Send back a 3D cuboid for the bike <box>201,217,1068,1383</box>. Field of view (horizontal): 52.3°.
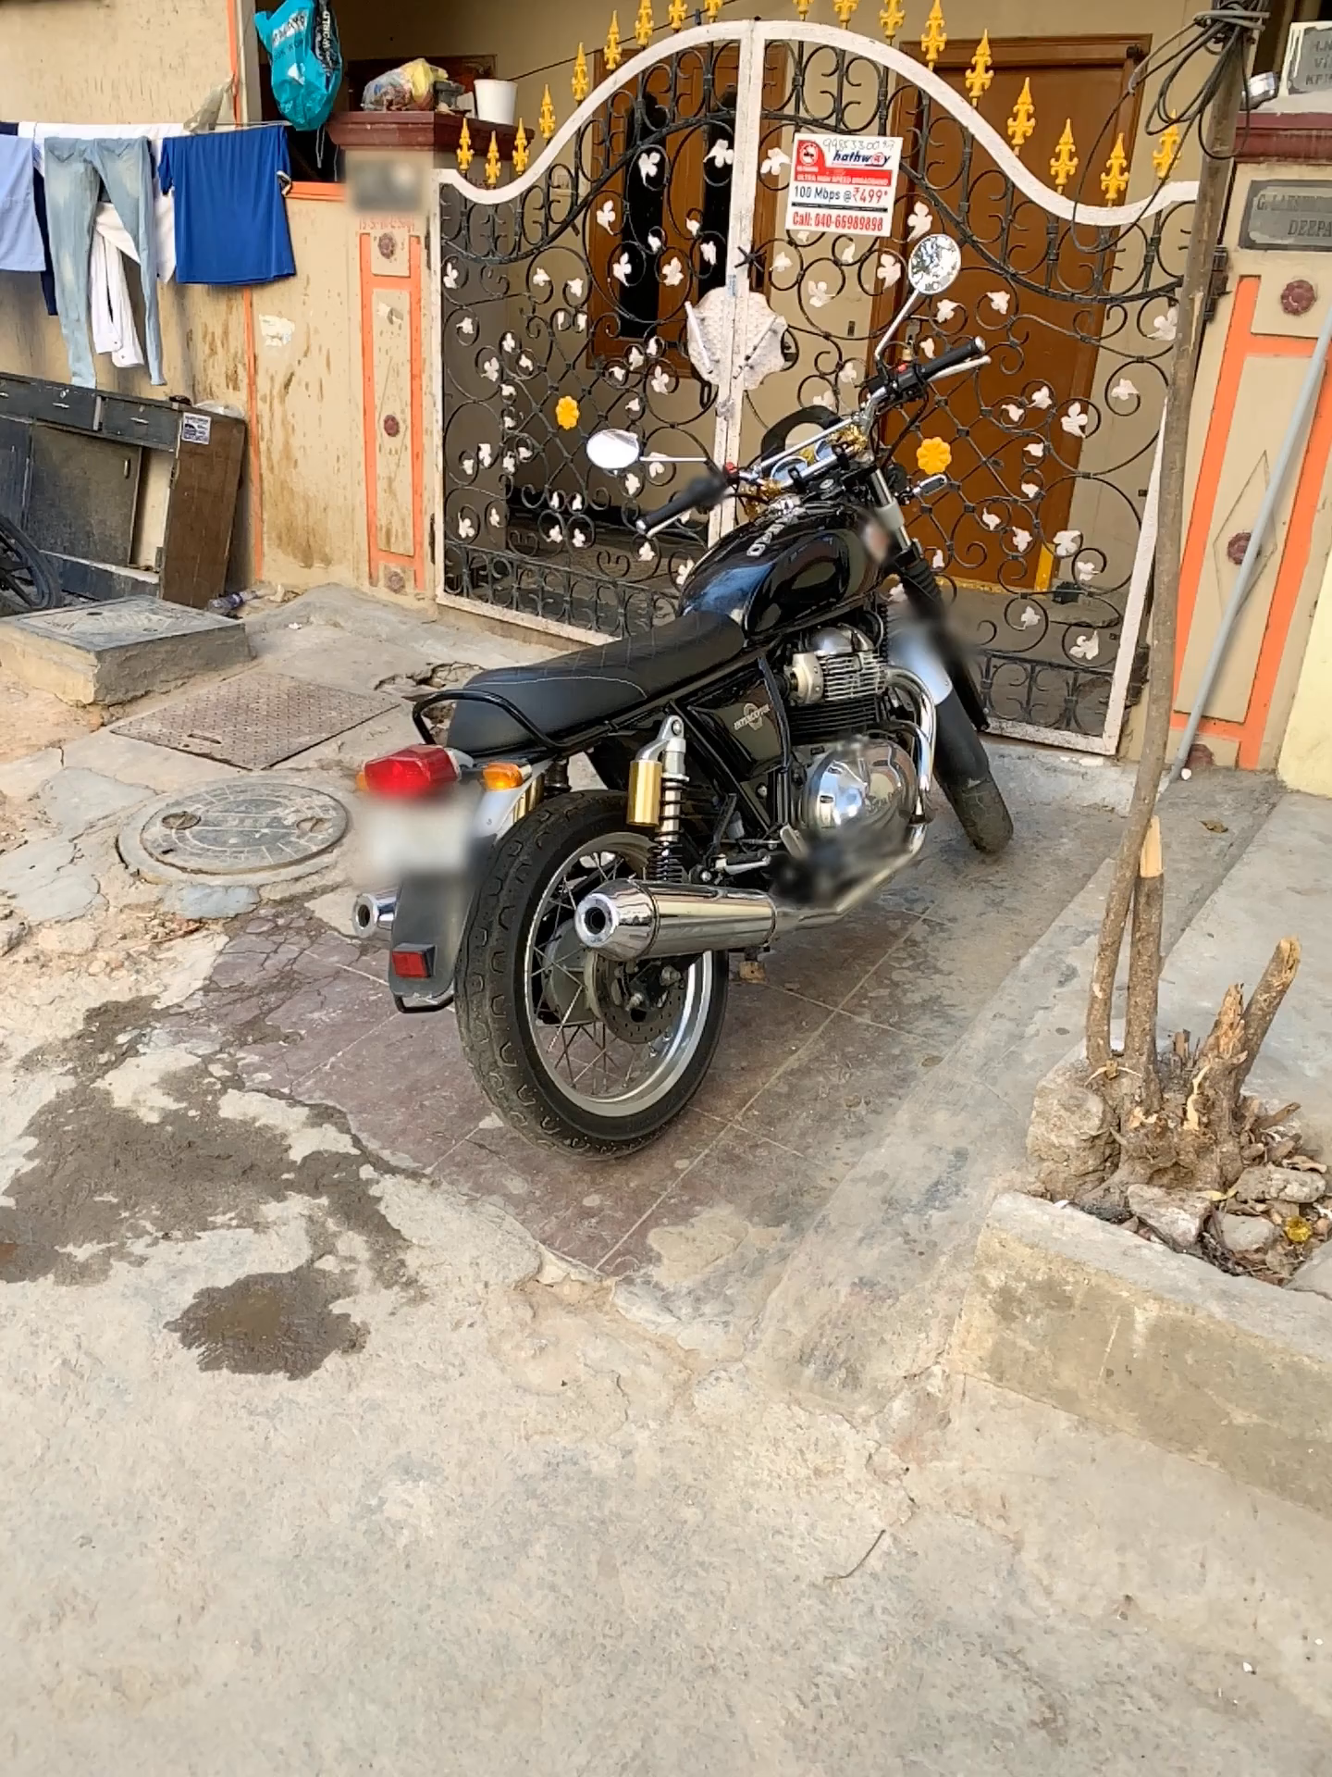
[{"bbox_3d":[0.077,-0.445,2.765,0.791,1.522,1.911,15,30,24],"label":"bike"}]
